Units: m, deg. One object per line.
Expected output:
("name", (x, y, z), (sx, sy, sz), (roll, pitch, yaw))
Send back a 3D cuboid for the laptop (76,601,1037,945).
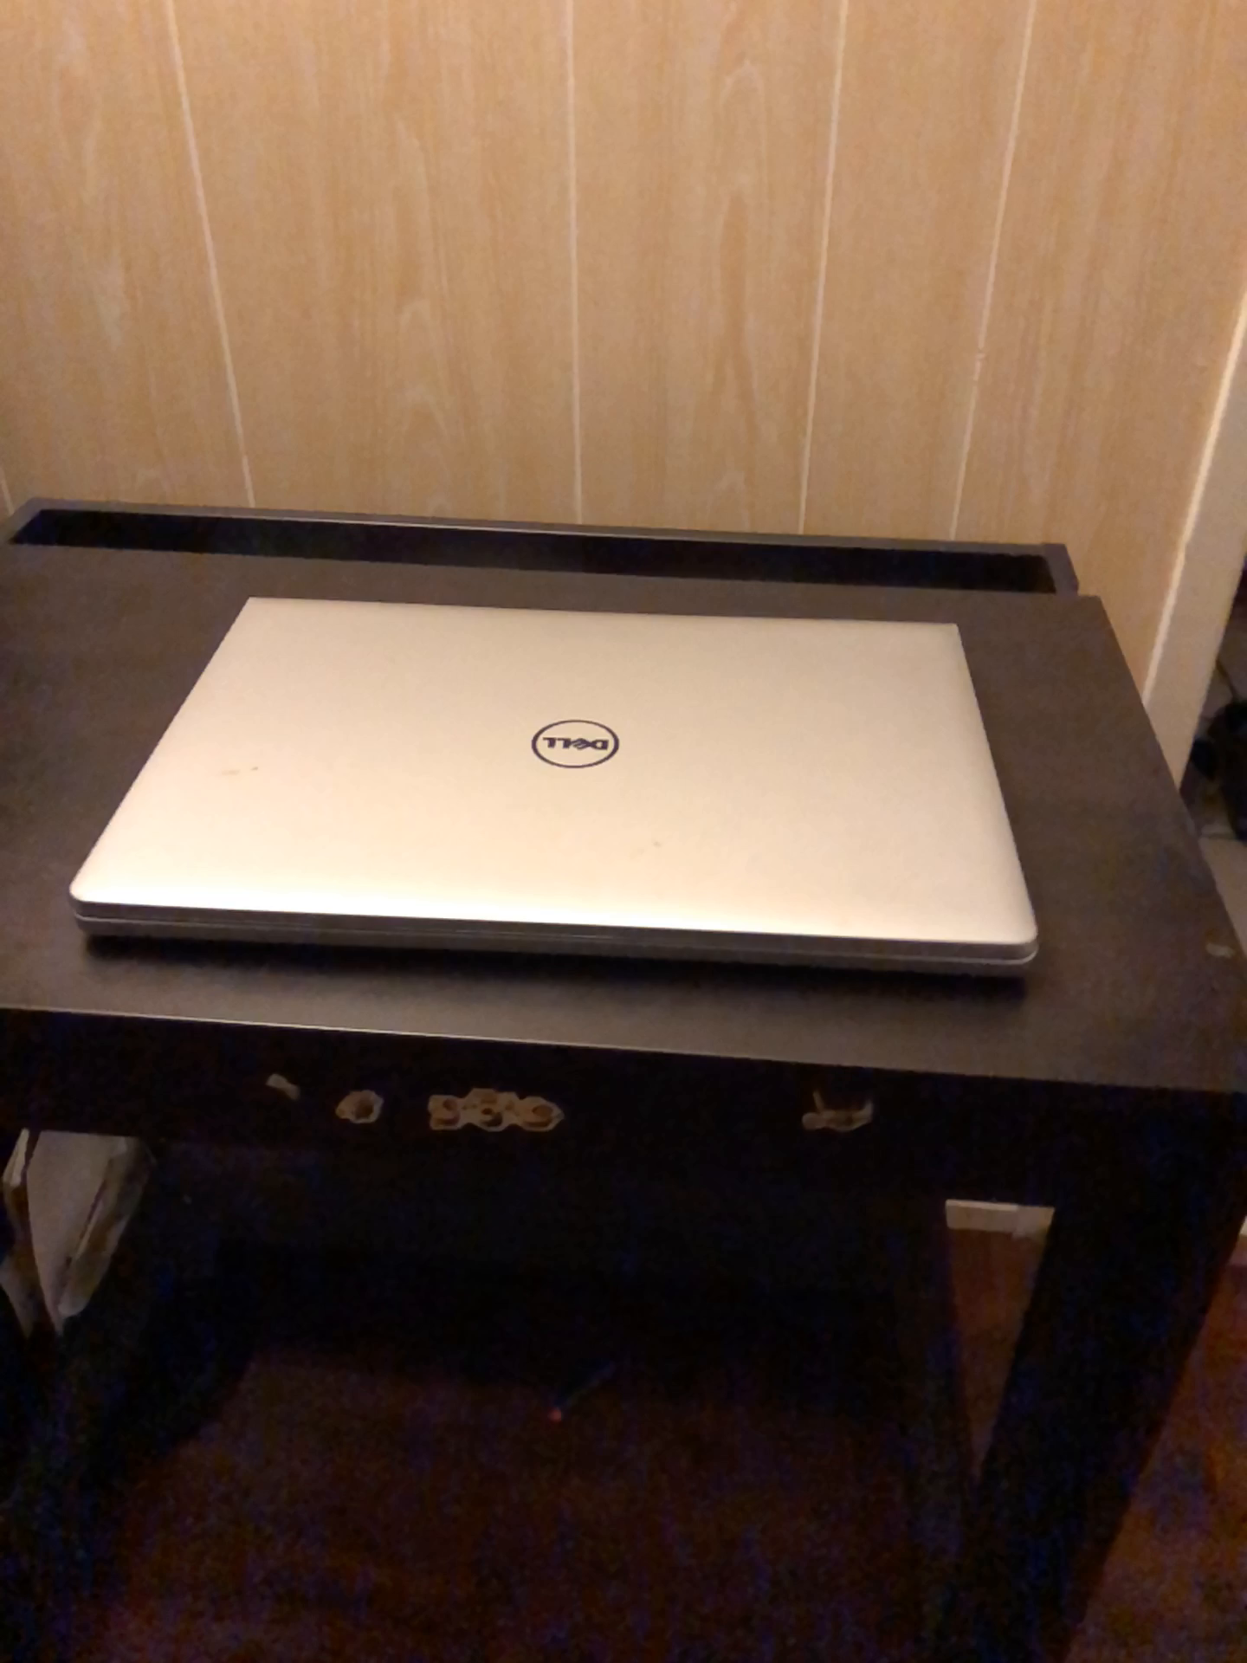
("laptop", (-0.022, -0.041, 0.623), (0.370, 0.003, 0.251), (2, 37, 4))
